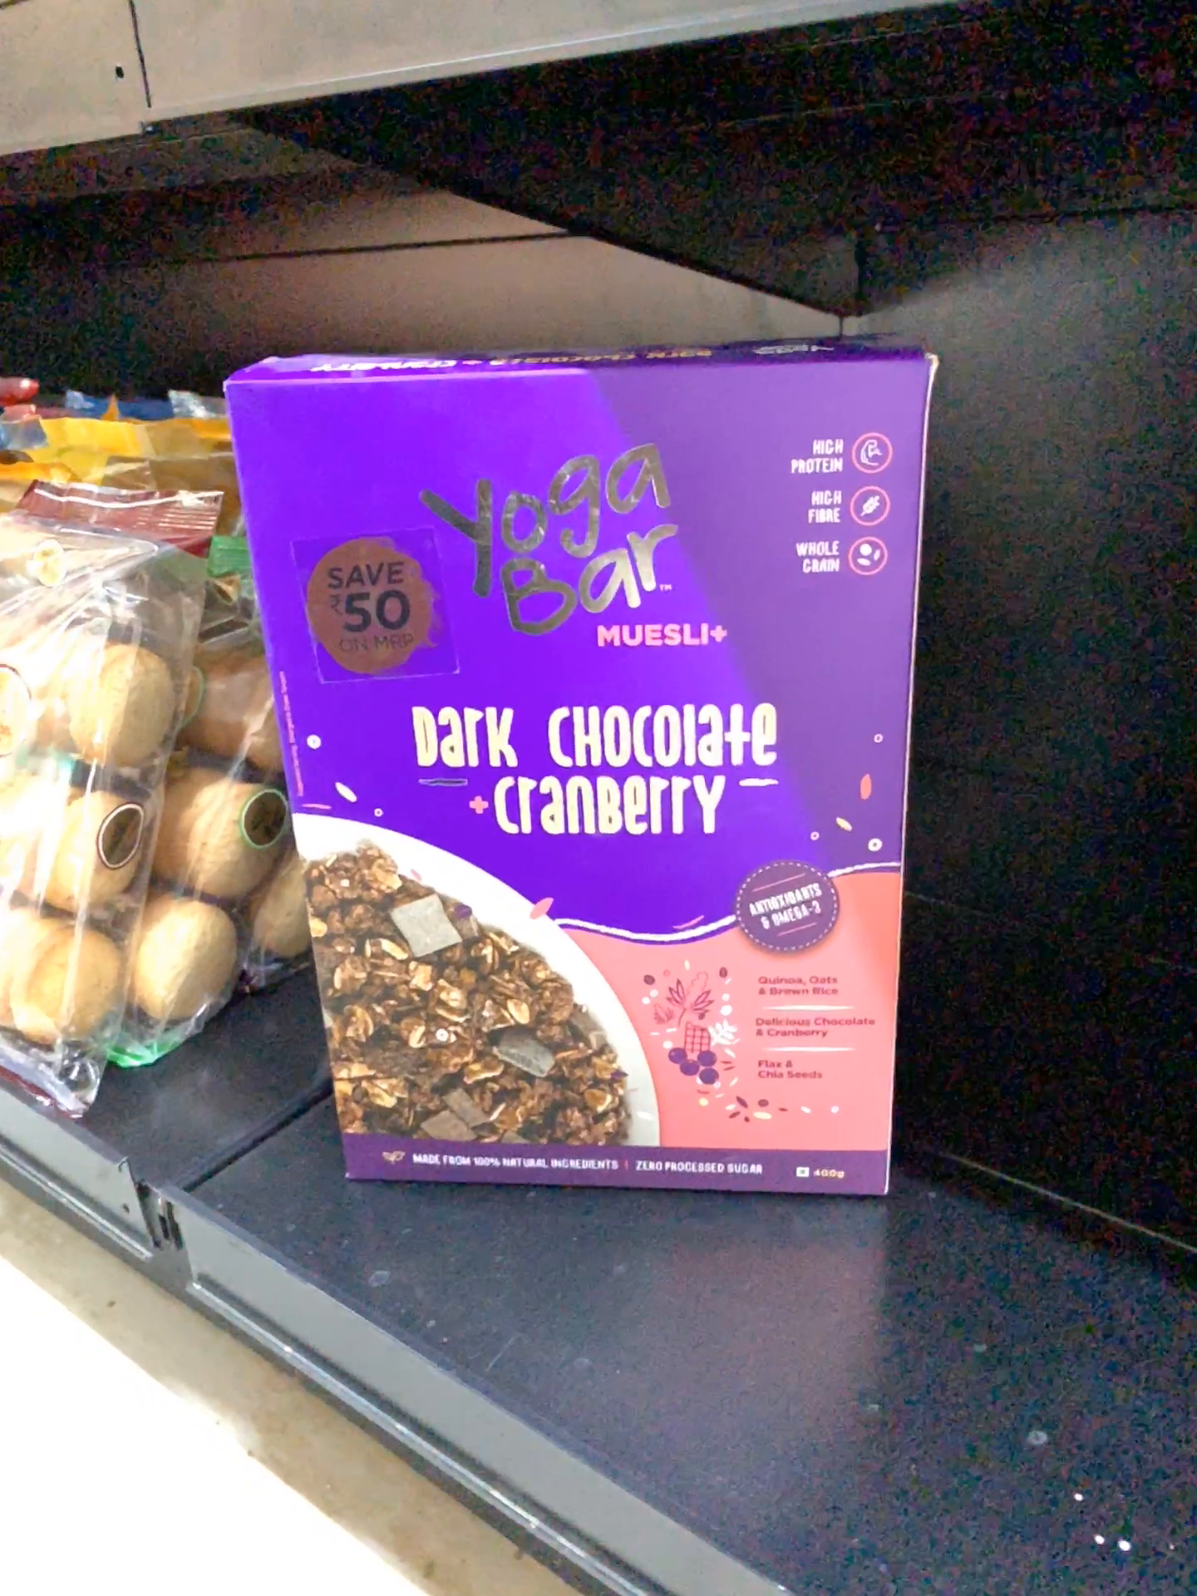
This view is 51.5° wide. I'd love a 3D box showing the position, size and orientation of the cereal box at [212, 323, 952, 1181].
[{"bbox_3d":[-0.001,-0.008,0.347,0.170,0.229,0.050,1,21,7],"label":"cereal box"}]
